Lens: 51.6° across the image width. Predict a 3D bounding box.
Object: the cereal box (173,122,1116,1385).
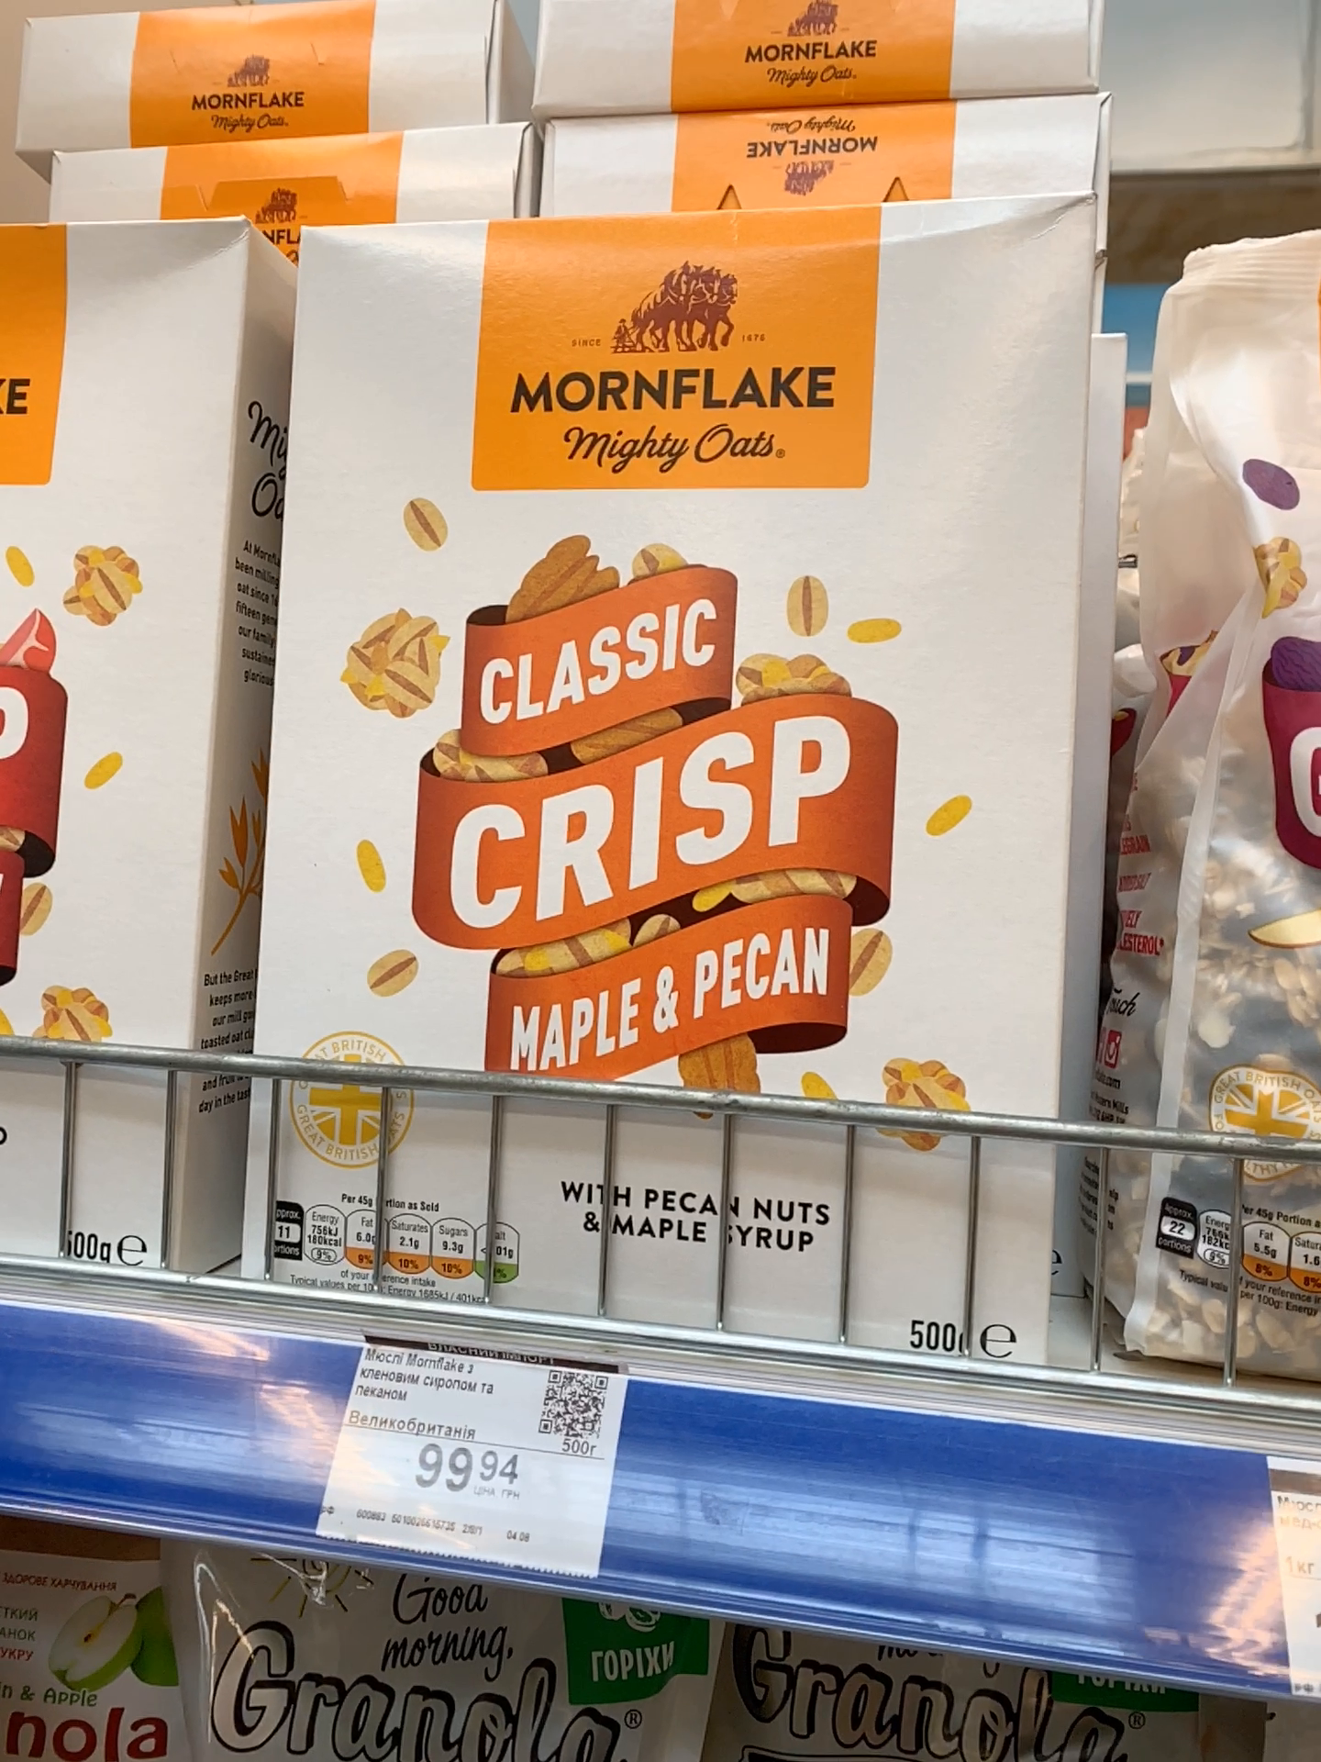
[{"bbox_3d":[-0.003,-0.031,0.317,0.190,0.250,0.060,3,-1,11],"label":"cereal box"}]
